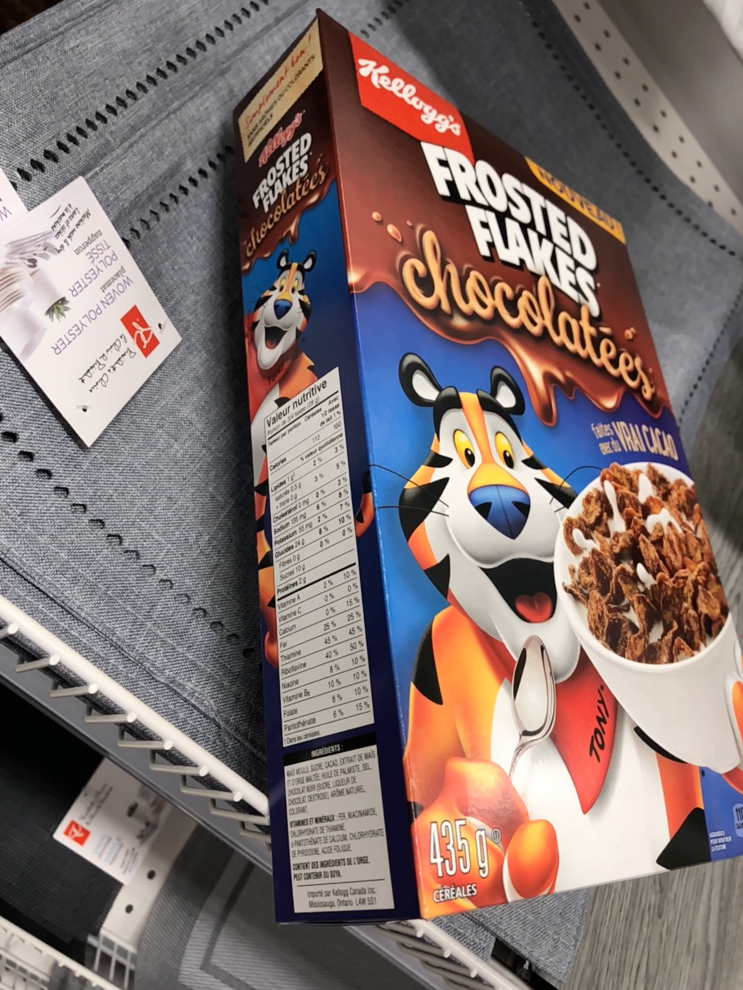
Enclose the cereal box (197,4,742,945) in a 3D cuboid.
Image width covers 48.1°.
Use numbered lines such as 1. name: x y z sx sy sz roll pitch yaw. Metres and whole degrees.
1. cereal box: 0.046 -0.010 0.339 0.211 0.070 0.310 14 59 -40
